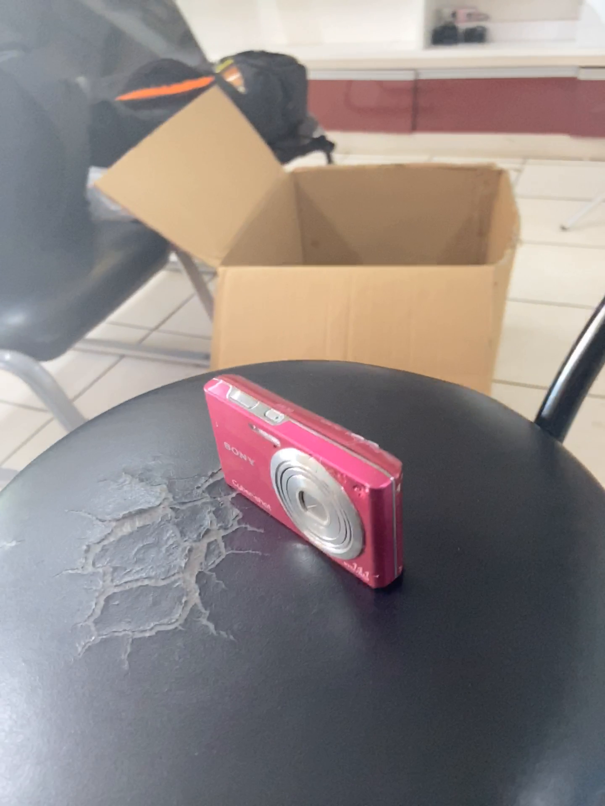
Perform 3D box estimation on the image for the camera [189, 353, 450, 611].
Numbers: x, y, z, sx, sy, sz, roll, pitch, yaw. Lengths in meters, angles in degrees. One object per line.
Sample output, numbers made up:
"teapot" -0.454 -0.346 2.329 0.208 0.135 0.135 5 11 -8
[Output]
"camera" 0.004 0.024 0.234 0.030 0.050 0.100 -32 42 -31
